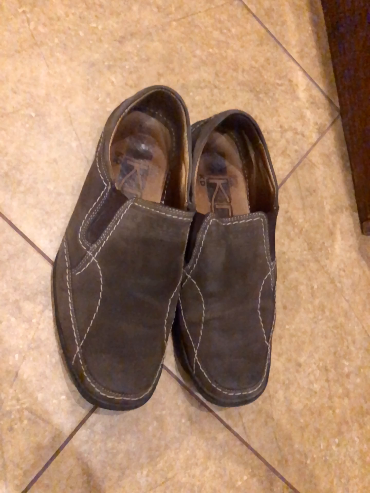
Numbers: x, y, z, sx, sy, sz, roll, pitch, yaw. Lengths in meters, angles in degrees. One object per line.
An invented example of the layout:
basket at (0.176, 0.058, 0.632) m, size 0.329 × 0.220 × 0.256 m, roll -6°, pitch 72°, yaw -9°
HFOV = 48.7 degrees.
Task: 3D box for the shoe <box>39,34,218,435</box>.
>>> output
shoe at (-0.046, -0.011, 0.355) m, size 0.120 × 0.090 × 0.300 m, roll 6°, pitch 74°, yaw -20°

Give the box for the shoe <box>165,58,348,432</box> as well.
shoe at (0.054, -0.004, 0.380) m, size 0.120 × 0.090 × 0.300 m, roll 4°, pitch 75°, yaw -20°
